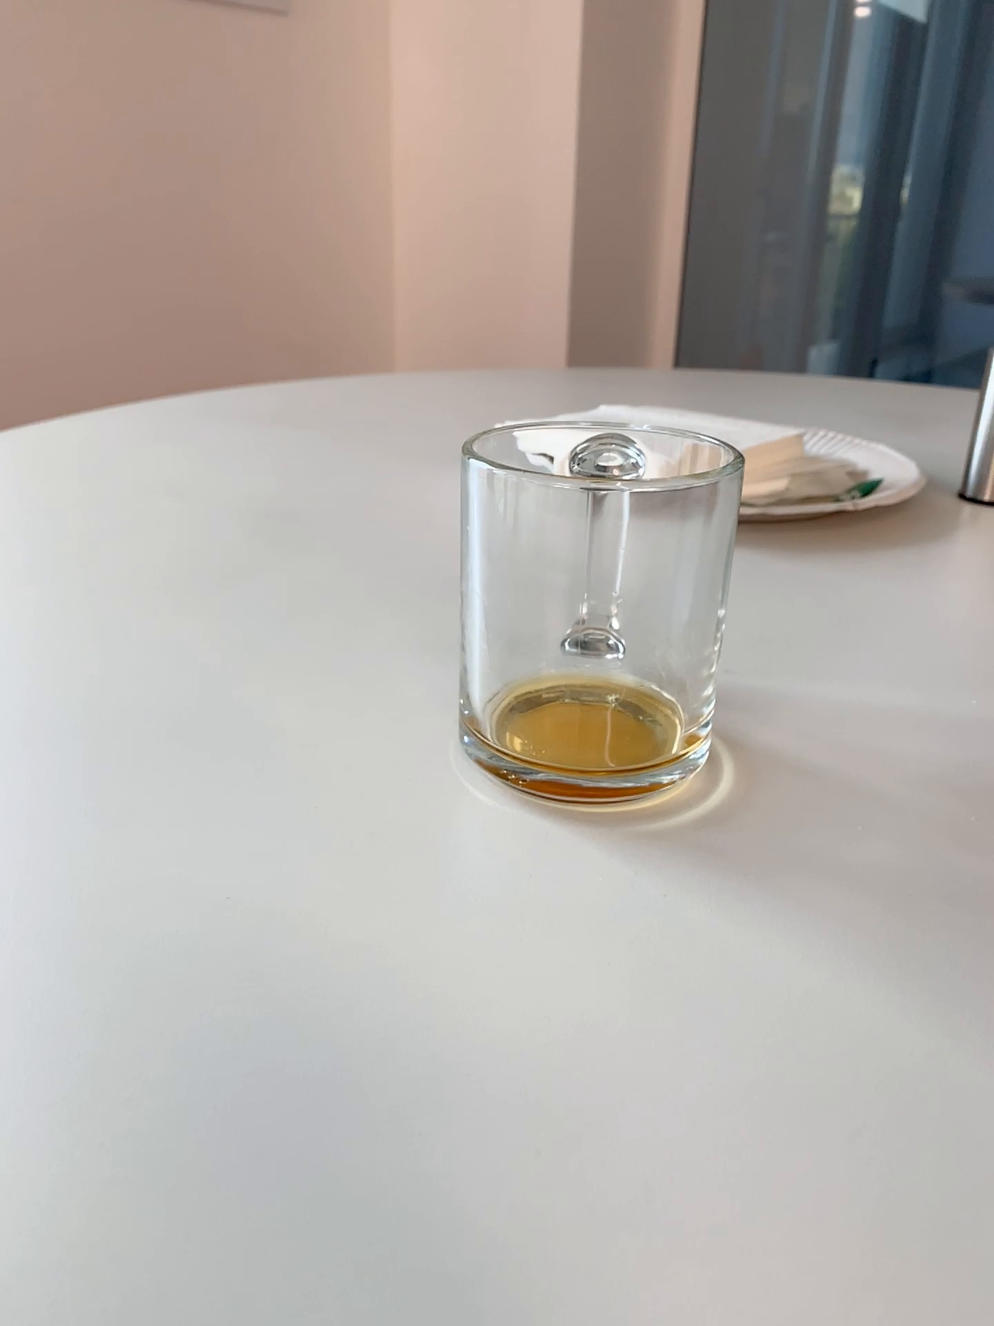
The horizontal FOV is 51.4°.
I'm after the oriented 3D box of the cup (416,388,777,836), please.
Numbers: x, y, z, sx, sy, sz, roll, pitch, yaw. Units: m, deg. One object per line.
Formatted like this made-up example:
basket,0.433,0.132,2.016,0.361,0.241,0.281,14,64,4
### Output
cup,0.031,-0.022,0.297,0.082,0.090,0.102,6,25,11
